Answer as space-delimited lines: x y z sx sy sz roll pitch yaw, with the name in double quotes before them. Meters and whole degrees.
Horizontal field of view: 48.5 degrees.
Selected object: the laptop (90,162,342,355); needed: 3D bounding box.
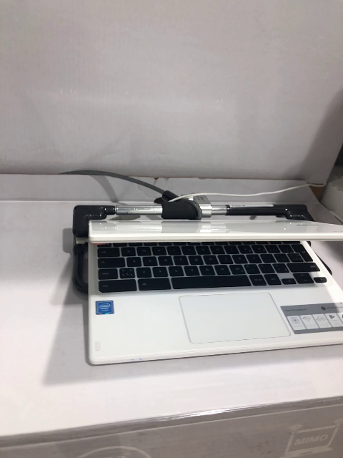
"laptop" 0.057 0.013 0.422 0.284 0.091 0.202 -1 32 -13
